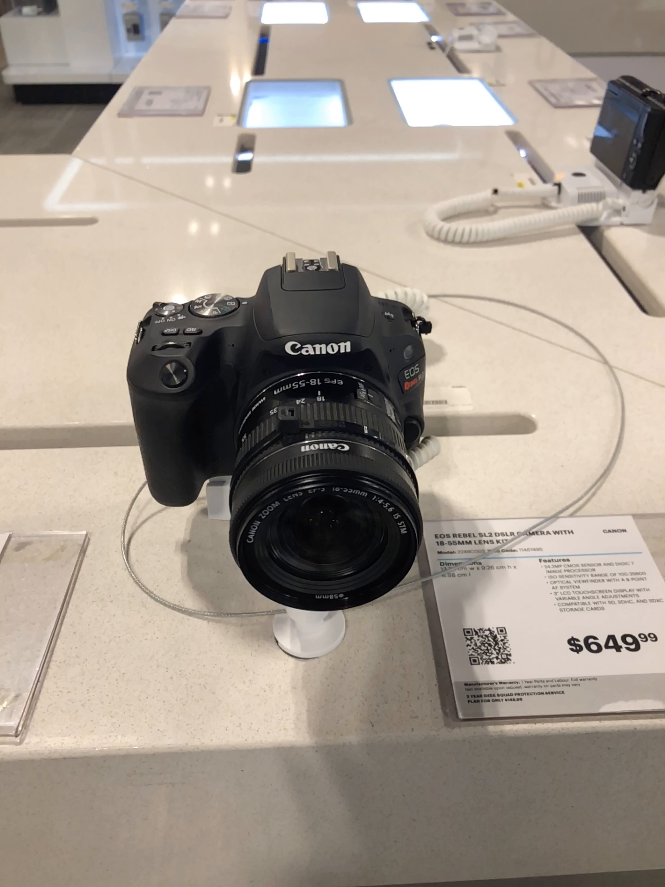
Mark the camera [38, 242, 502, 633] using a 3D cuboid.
[{"bbox_3d":[-0.020,-0.013,0.287,0.130,0.070,0.151,-2,39,-2],"label":"camera"}]
